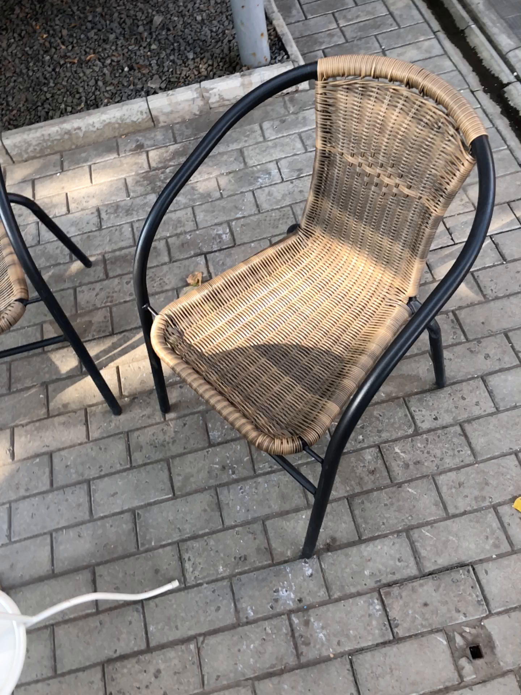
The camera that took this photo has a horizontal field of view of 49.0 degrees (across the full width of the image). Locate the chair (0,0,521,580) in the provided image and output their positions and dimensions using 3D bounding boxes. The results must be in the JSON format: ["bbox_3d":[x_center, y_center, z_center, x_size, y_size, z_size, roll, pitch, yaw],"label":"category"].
[{"bbox_3d":[0.067,-0.073,0.998,0.590,0.669,0.541,-42,62,-15],"label":"chair"}]
